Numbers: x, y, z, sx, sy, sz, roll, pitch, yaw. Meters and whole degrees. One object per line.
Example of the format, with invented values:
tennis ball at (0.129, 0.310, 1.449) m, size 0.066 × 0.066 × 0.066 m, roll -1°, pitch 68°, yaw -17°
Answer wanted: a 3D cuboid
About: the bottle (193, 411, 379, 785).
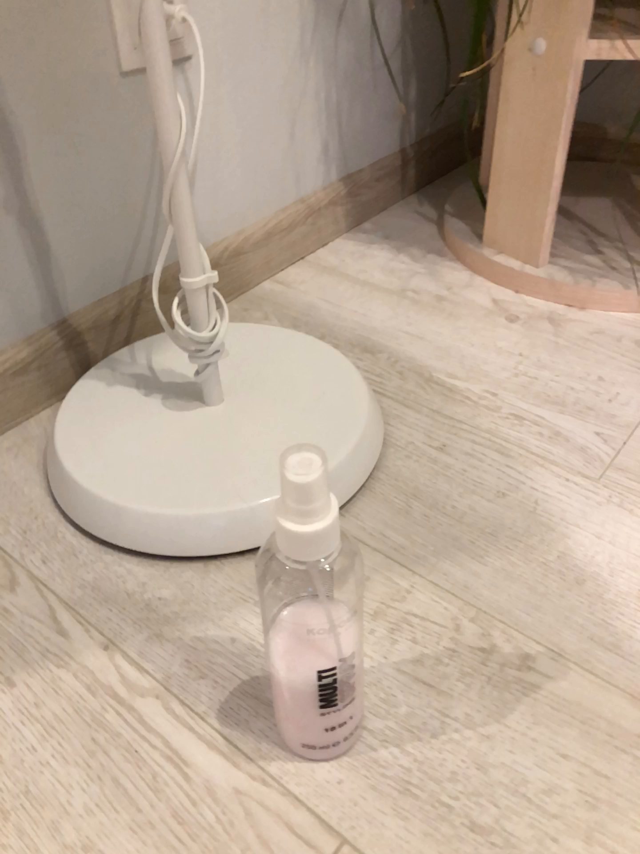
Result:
bottle at (-0.010, 0.087, 0.332) m, size 0.054 × 0.183 × 0.049 m, roll 26°, pitch 46°, yaw 32°
